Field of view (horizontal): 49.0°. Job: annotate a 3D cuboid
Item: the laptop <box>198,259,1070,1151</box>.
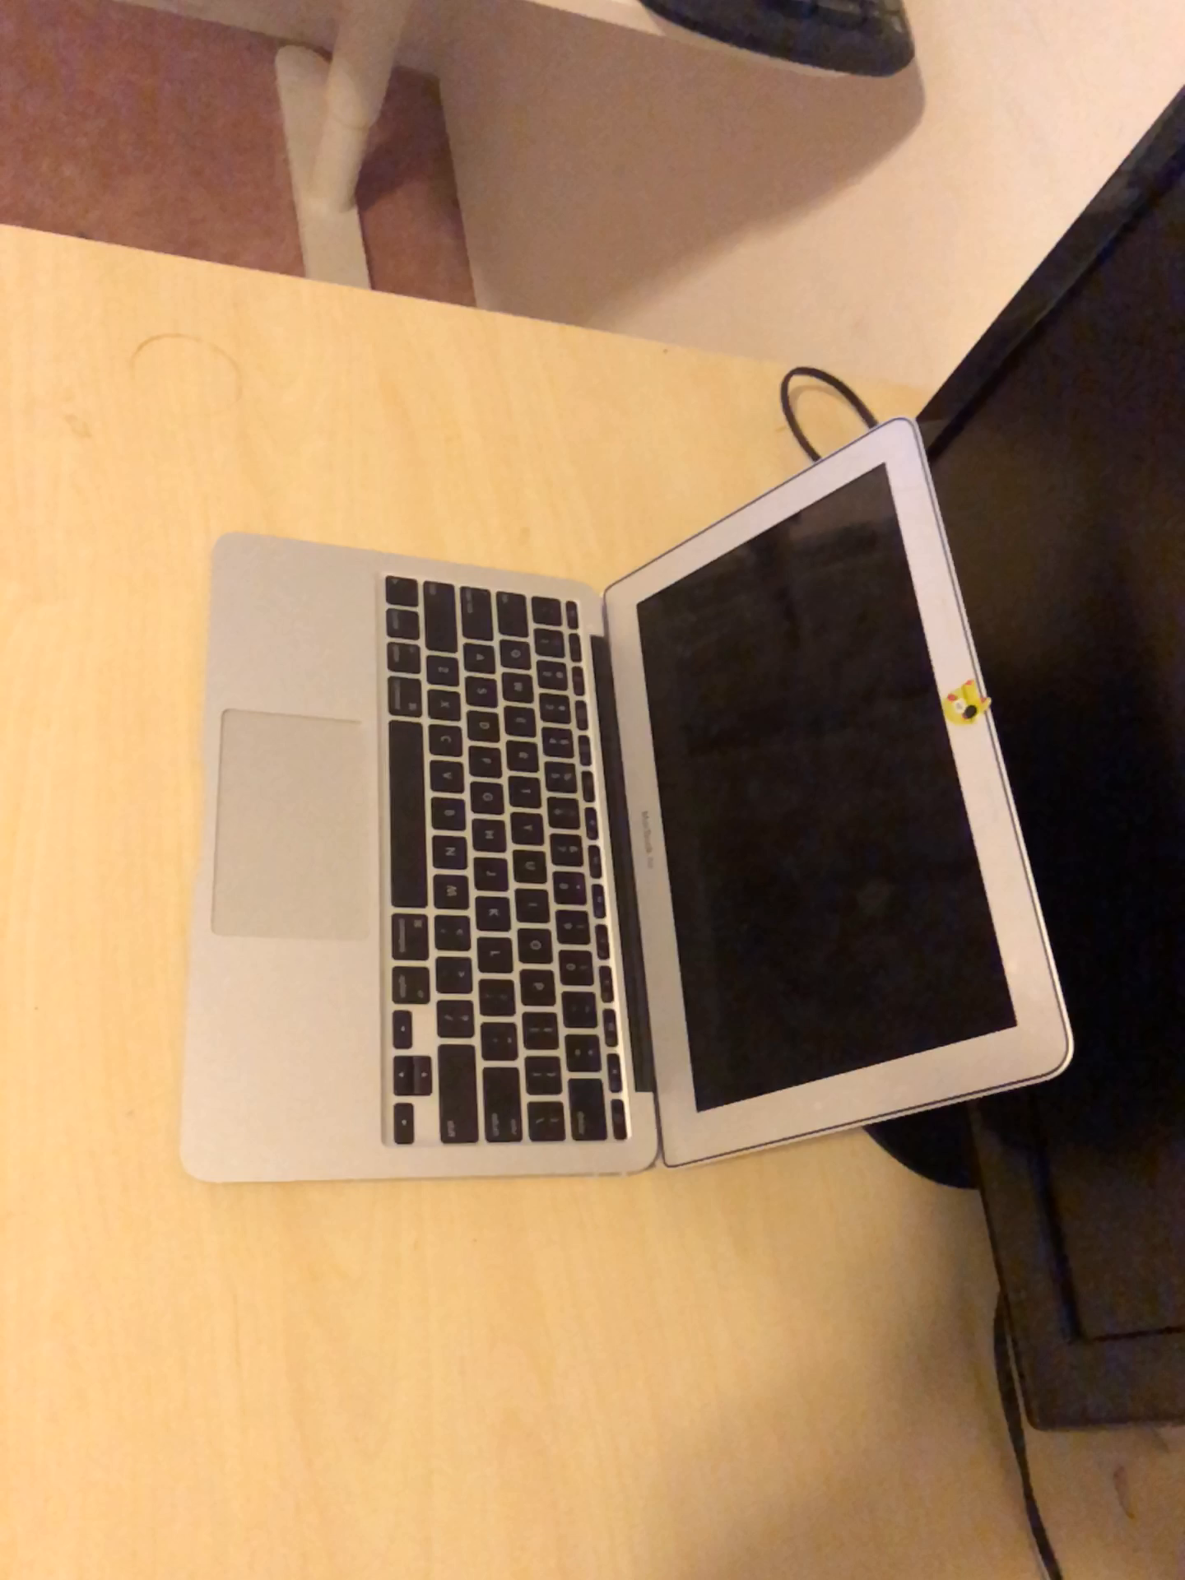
[{"bbox_3d":[-0.005,-0.017,0.532,0.275,0.161,0.291,5,62,-21],"label":"laptop"}]
